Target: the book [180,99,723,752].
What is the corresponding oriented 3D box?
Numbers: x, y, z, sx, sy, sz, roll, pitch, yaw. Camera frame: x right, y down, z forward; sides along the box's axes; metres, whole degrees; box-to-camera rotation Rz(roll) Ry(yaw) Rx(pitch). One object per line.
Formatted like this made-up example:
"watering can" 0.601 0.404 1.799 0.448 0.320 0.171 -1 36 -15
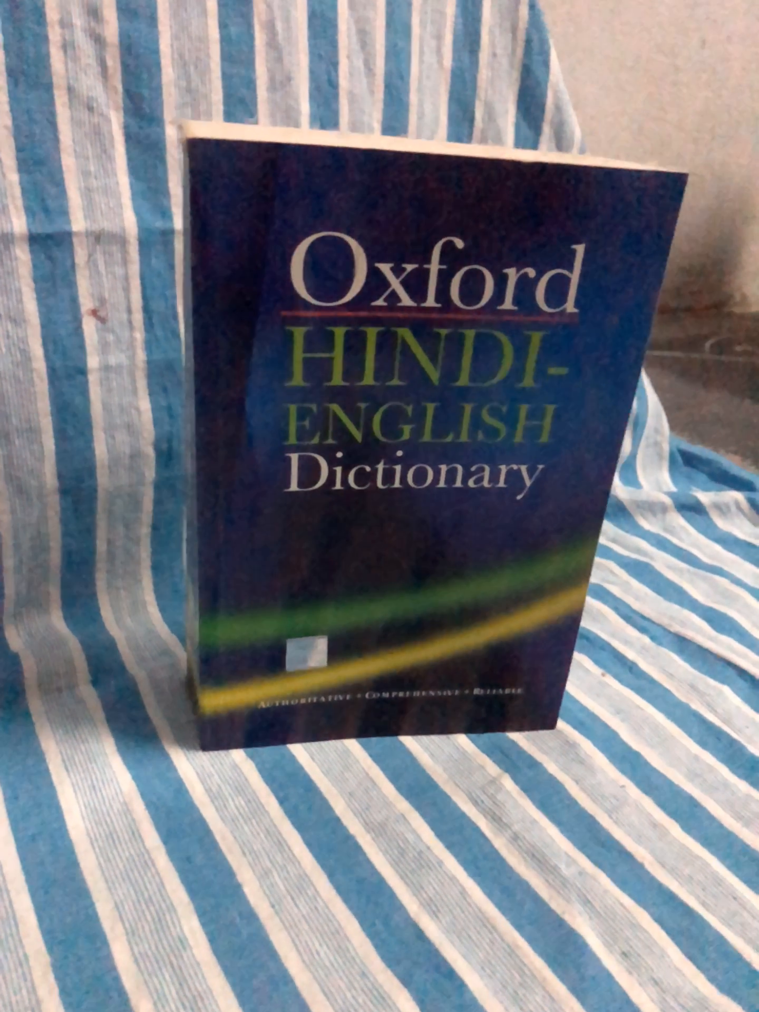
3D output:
"book" 0.007 -0.014 0.278 0.140 0.199 0.050 0 31 -13
